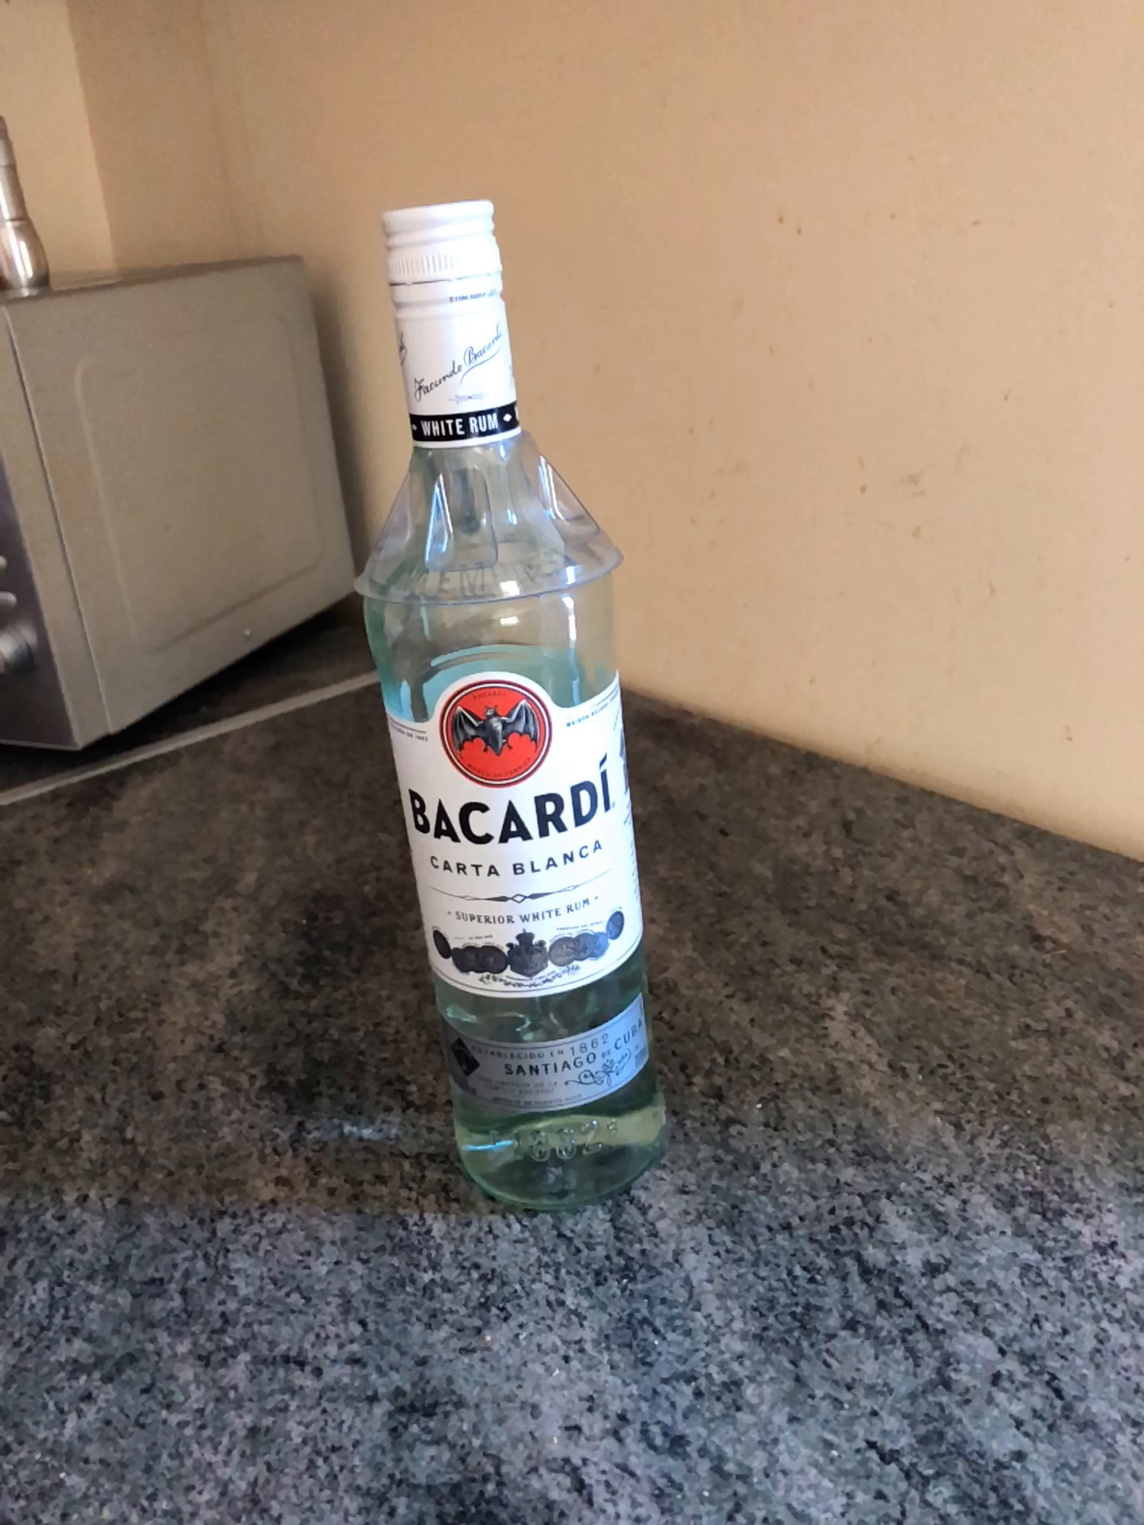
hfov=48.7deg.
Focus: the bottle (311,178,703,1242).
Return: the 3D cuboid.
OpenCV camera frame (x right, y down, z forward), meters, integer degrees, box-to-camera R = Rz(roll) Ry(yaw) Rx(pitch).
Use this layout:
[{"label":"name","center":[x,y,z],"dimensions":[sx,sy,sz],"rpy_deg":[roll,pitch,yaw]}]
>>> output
[{"label":"bottle","center":[-0.013,-0.007,0.379],"dimensions":[0.080,0.299,0.080],"rpy_deg":[-4,22,2]}]
